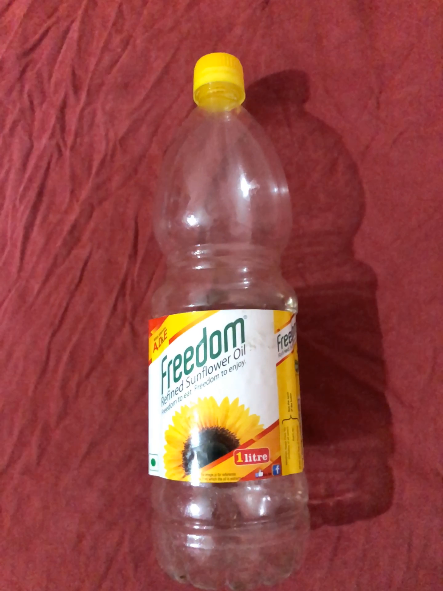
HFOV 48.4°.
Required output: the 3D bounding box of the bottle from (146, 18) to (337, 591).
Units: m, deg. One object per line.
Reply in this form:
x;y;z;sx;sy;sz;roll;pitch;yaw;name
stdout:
0.007;0.003;0.256;0.080;0.060;0.270;-2;83;4;bottle
